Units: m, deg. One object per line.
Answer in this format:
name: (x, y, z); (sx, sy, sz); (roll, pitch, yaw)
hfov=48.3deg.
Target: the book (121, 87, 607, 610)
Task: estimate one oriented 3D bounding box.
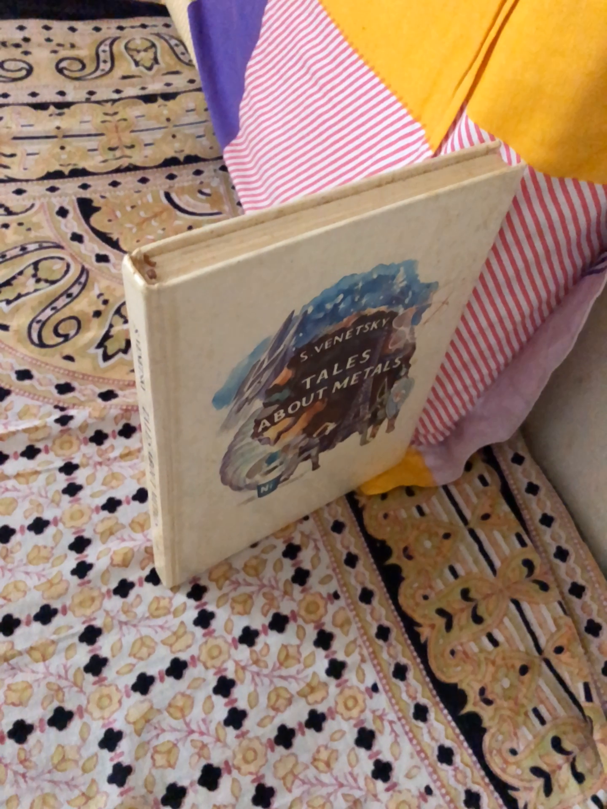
book: (0.011, -0.014, 0.336); (0.190, 0.249, 0.050); (-21, 58, -29)
